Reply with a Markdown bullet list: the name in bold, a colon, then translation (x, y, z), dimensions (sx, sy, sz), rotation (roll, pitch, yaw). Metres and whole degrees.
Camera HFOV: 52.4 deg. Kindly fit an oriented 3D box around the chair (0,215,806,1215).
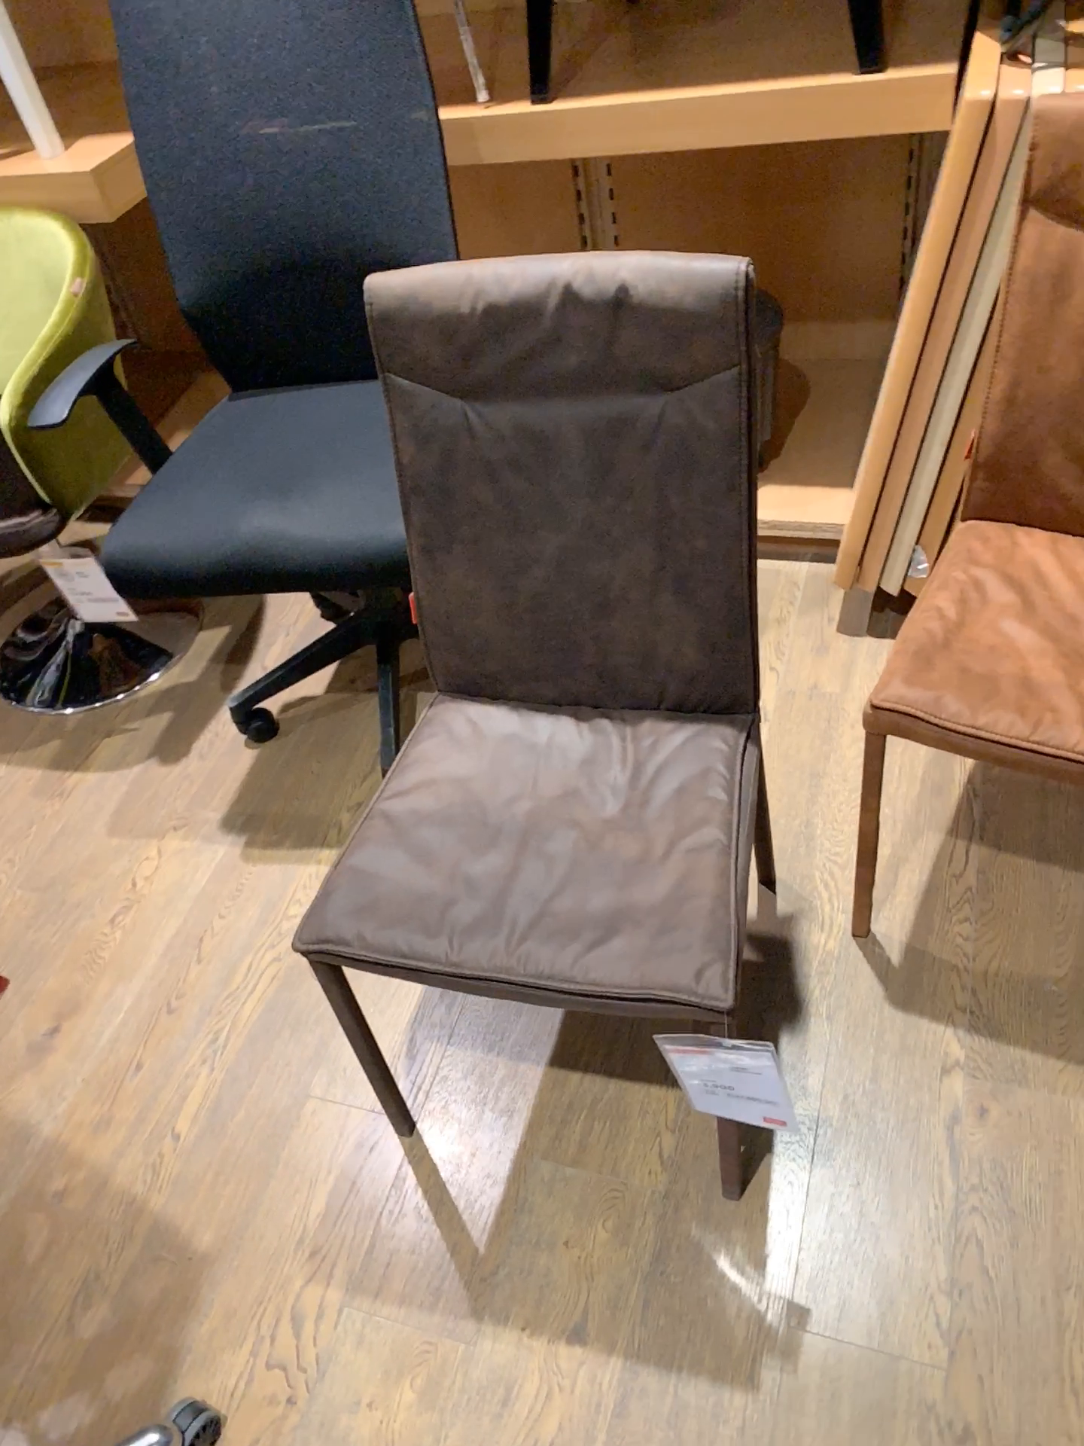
- **chair**: translation (-0.007, 0.035, 1.186), dimensions (0.500, 0.907, 0.521), rotation (5, 47, 17)
